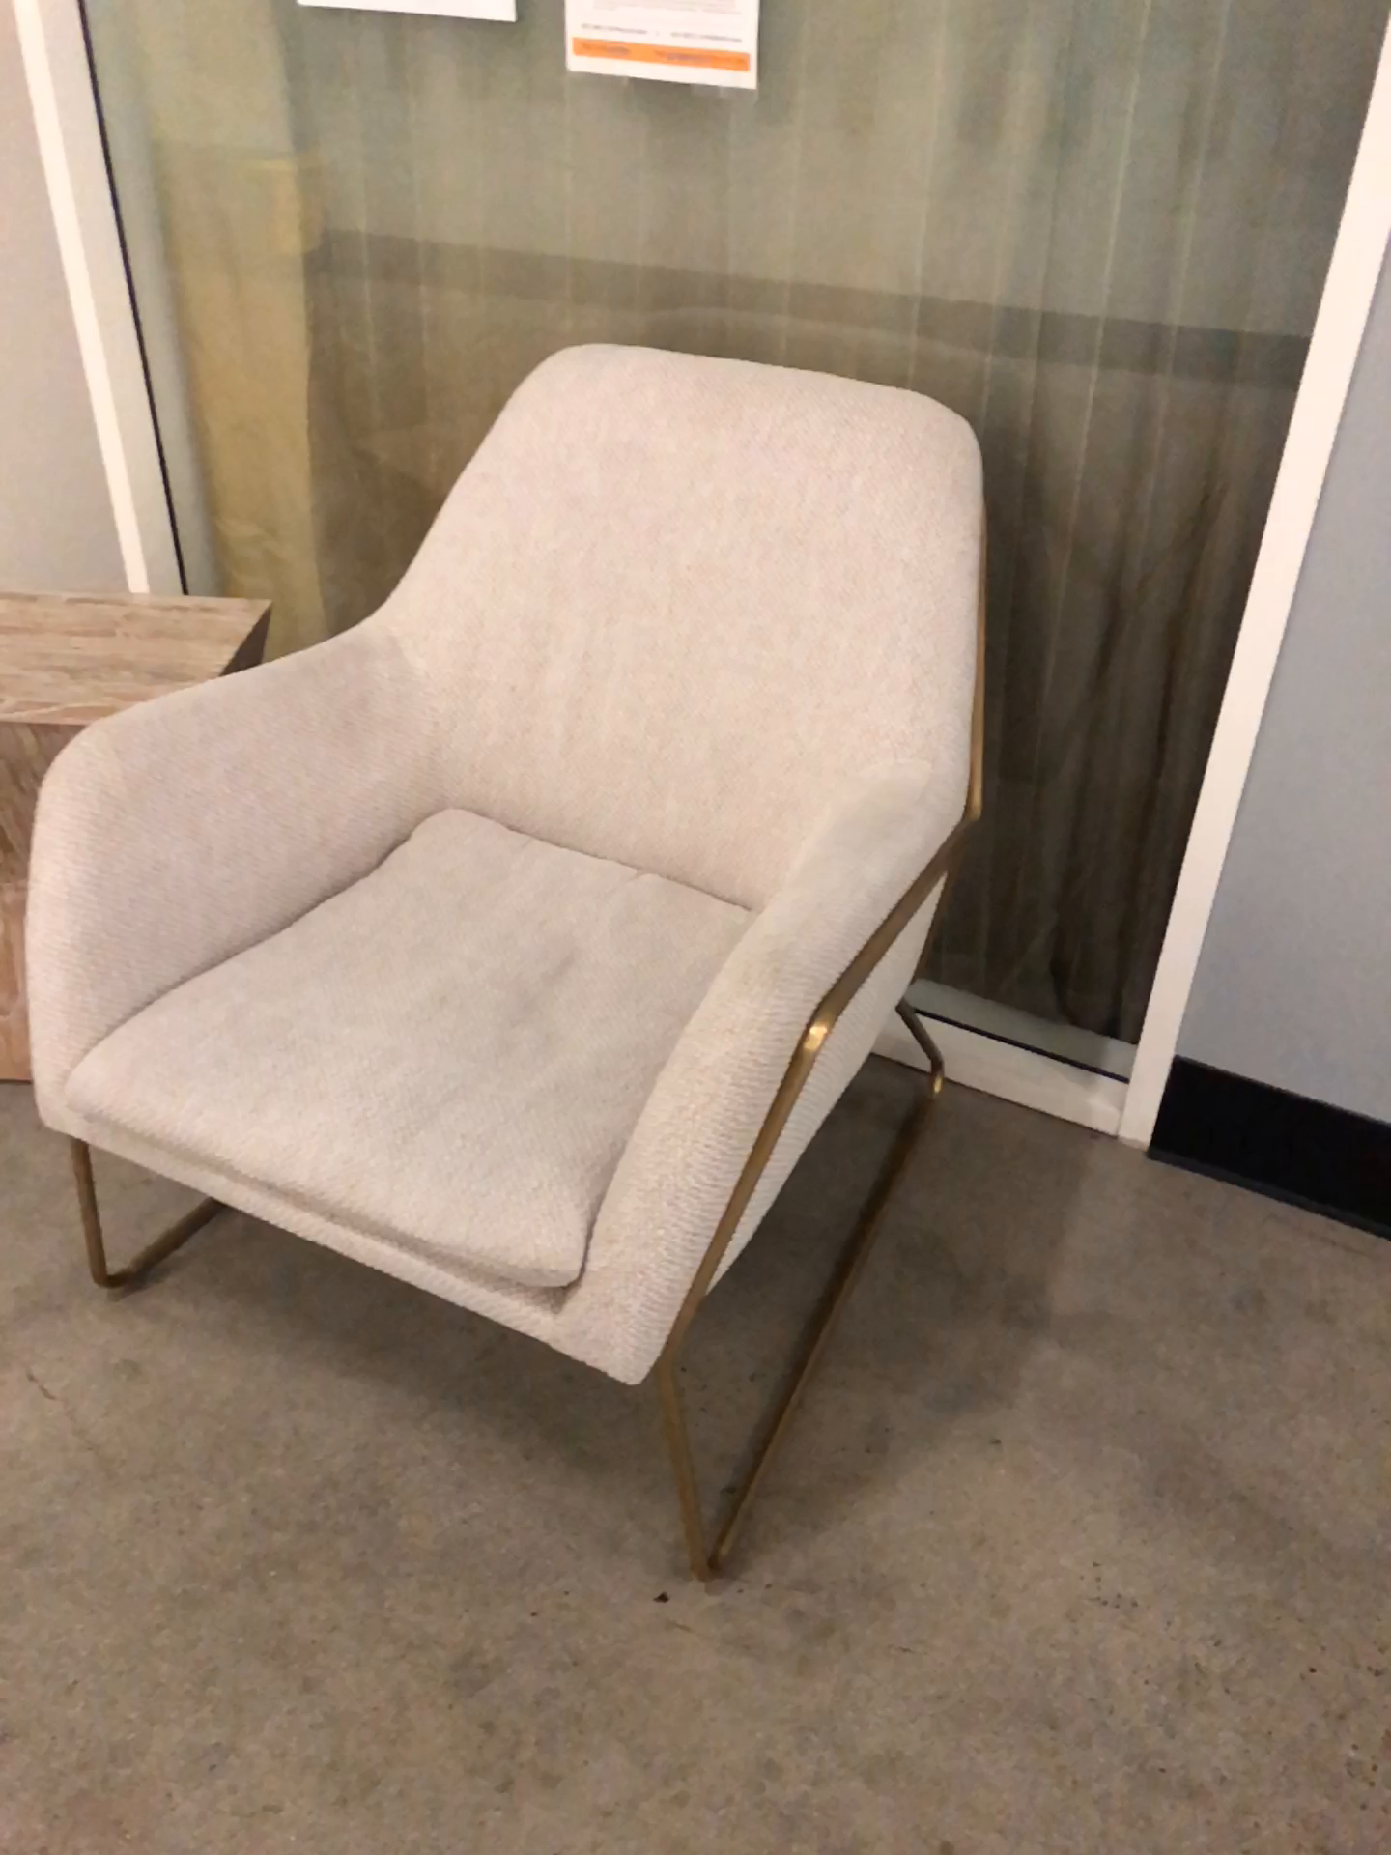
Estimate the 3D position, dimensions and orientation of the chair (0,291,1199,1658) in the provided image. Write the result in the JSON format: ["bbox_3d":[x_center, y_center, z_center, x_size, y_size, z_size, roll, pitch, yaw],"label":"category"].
[{"bbox_3d":[-0.102,-0.071,1.523,0.831,0.816,0.893,17,37,22],"label":"chair"}]
